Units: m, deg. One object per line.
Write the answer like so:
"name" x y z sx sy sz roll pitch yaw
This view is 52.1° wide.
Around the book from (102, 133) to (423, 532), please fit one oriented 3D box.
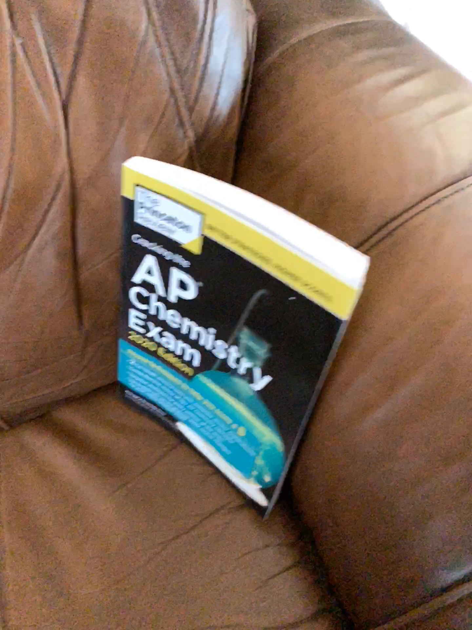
"book" -0.013 0.039 0.437 0.241 0.319 0.040 32 49 21
